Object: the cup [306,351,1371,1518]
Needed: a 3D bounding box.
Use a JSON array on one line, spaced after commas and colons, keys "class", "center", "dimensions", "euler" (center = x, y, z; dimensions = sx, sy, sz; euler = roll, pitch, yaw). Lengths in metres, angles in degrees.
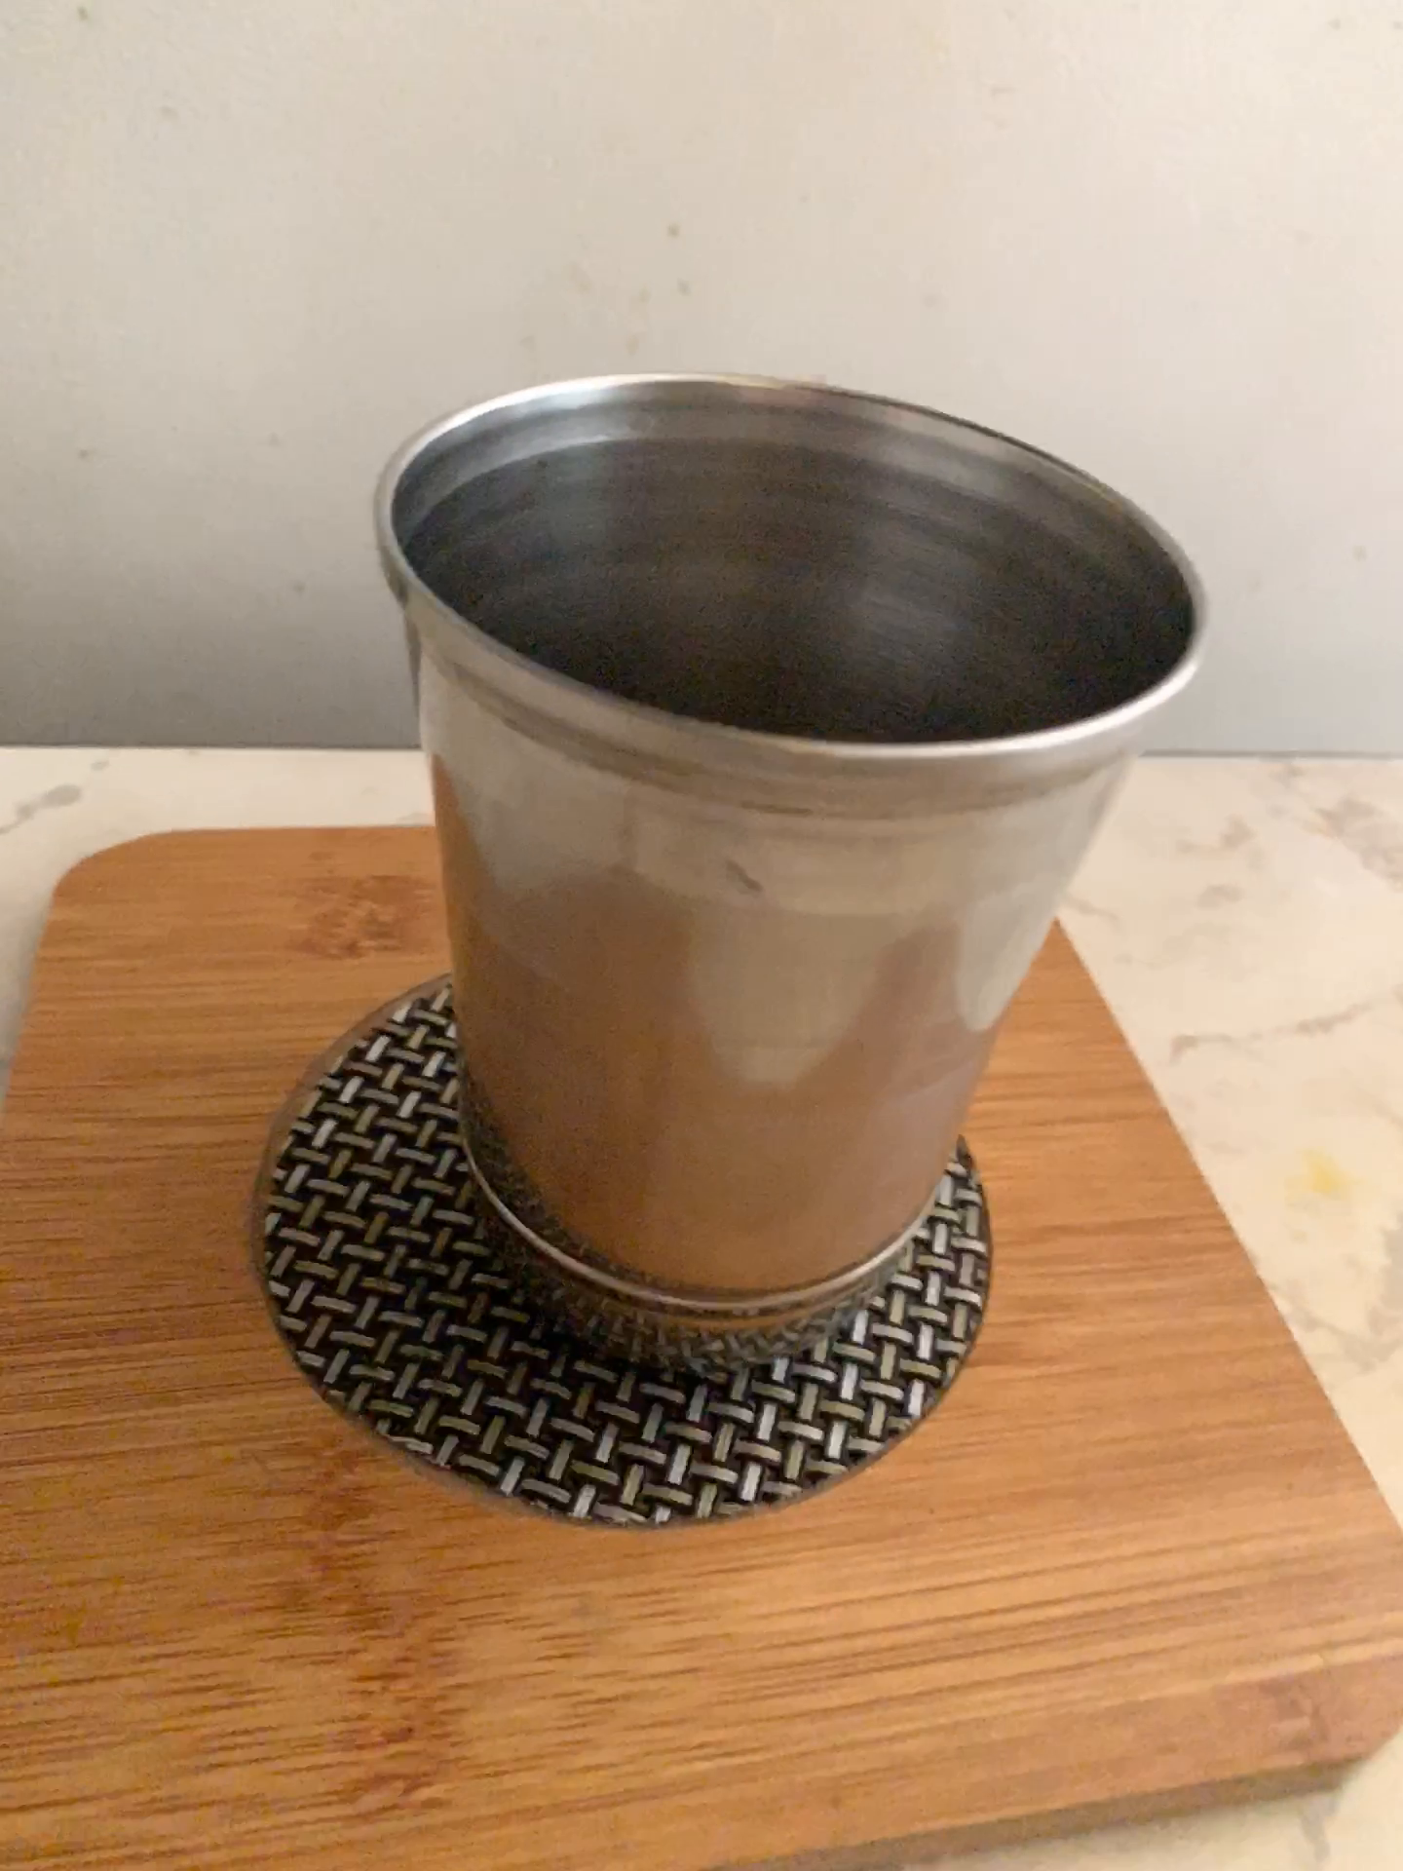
[{"class": "cup", "center": [0.002, 0.000, 0.152], "dimensions": [0.072, 0.091, 0.071], "euler": [4, 40, -4]}]
